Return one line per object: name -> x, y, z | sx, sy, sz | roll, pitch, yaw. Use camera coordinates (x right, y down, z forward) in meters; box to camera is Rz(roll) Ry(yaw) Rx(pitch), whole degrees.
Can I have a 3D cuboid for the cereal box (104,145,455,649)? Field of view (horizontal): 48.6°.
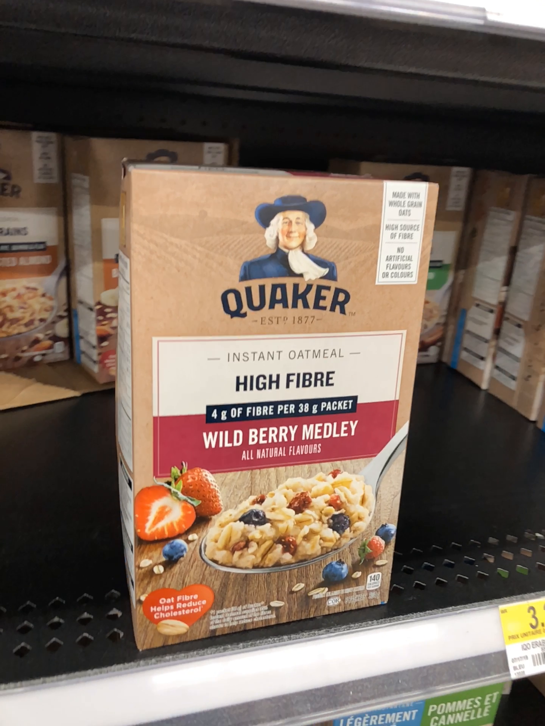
cereal box -> -0.004, 0.012, 0.272 | 0.130, 0.199, 0.060 | -3, 17, -18
